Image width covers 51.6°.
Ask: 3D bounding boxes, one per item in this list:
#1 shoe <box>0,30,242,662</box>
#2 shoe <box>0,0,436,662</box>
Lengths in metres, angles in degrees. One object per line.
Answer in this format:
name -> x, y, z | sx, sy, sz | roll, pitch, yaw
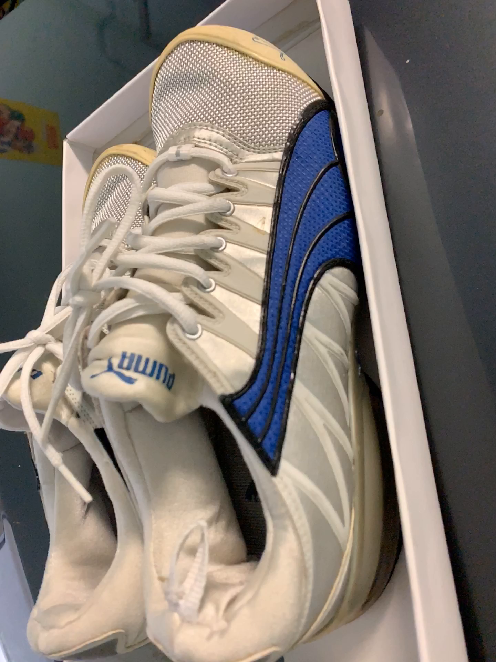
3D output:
shoe -> -0.077, 0.005, 0.269 | 0.110, 0.089, 0.282 | -19, 62, 36
shoe -> -0.009, -0.022, 0.212 | 0.110, 0.089, 0.281 | -16, 63, 38
